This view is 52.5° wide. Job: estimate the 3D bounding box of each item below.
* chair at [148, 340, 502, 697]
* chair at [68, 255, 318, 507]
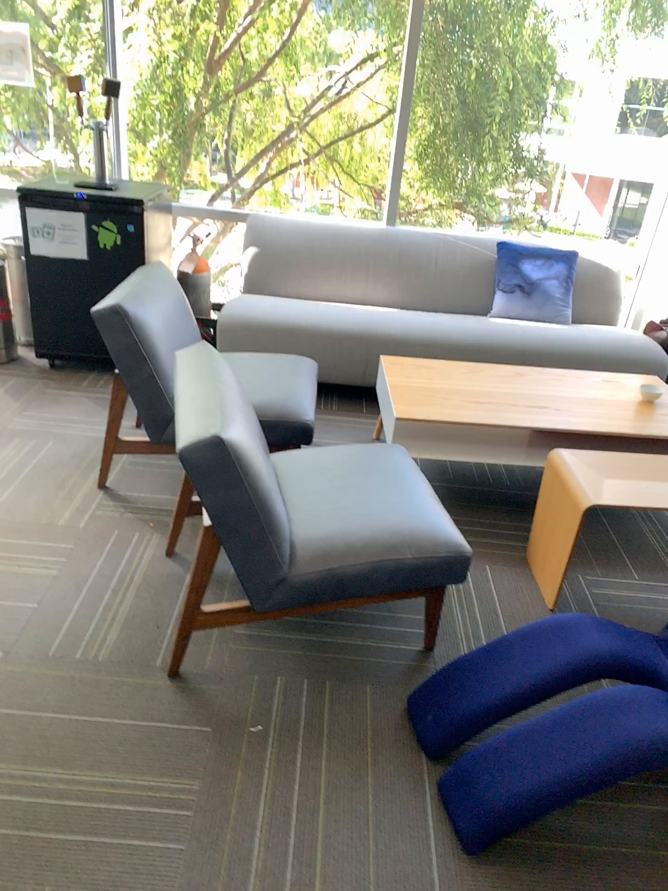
[{"bbox_3d":[-0.109,0.168,2.046,0.850,0.766,0.684,-1,28,-14],"label":"chair"},{"bbox_3d":[-0.534,-0.292,2.832,0.850,0.766,0.744,4,27,-5],"label":"chair"}]
